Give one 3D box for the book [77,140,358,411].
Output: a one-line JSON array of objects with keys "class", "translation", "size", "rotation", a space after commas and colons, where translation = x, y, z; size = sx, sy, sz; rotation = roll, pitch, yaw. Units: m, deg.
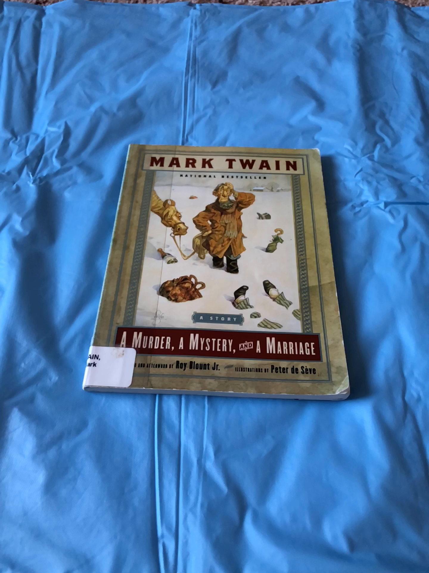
[{"class": "book", "translation": [0.005, -0.022, 0.337], "size": [0.160, 0.020, 0.210], "rotation": [2, 57, 0]}]
